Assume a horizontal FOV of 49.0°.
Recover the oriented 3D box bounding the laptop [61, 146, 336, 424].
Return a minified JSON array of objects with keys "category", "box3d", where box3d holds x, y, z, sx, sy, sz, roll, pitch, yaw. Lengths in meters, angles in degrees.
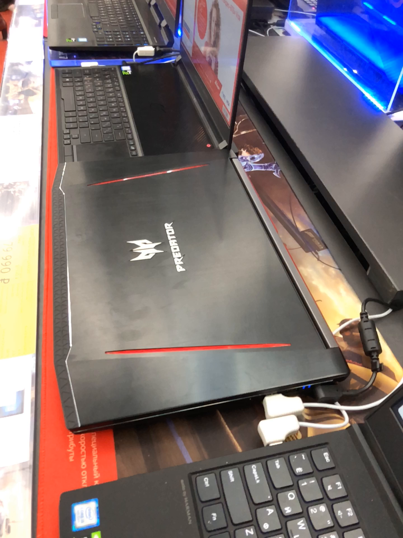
[{"category":"laptop","box3d":[-0.035,-0.028,0.499,0.228,0.004,0.379,-8,47,-12]}]
